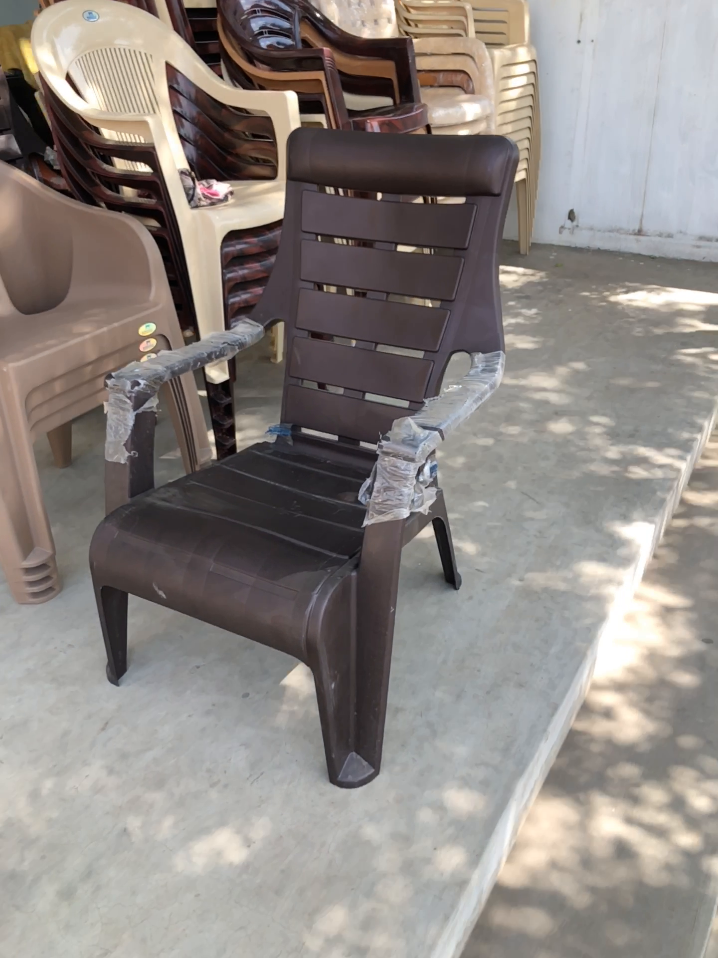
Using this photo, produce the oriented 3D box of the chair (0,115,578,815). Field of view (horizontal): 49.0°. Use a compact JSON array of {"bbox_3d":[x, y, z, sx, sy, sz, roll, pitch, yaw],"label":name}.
[{"bbox_3d":[-0.096,-0.120,1.405,0.680,0.875,0.764,14,34,27],"label":"chair"}]
